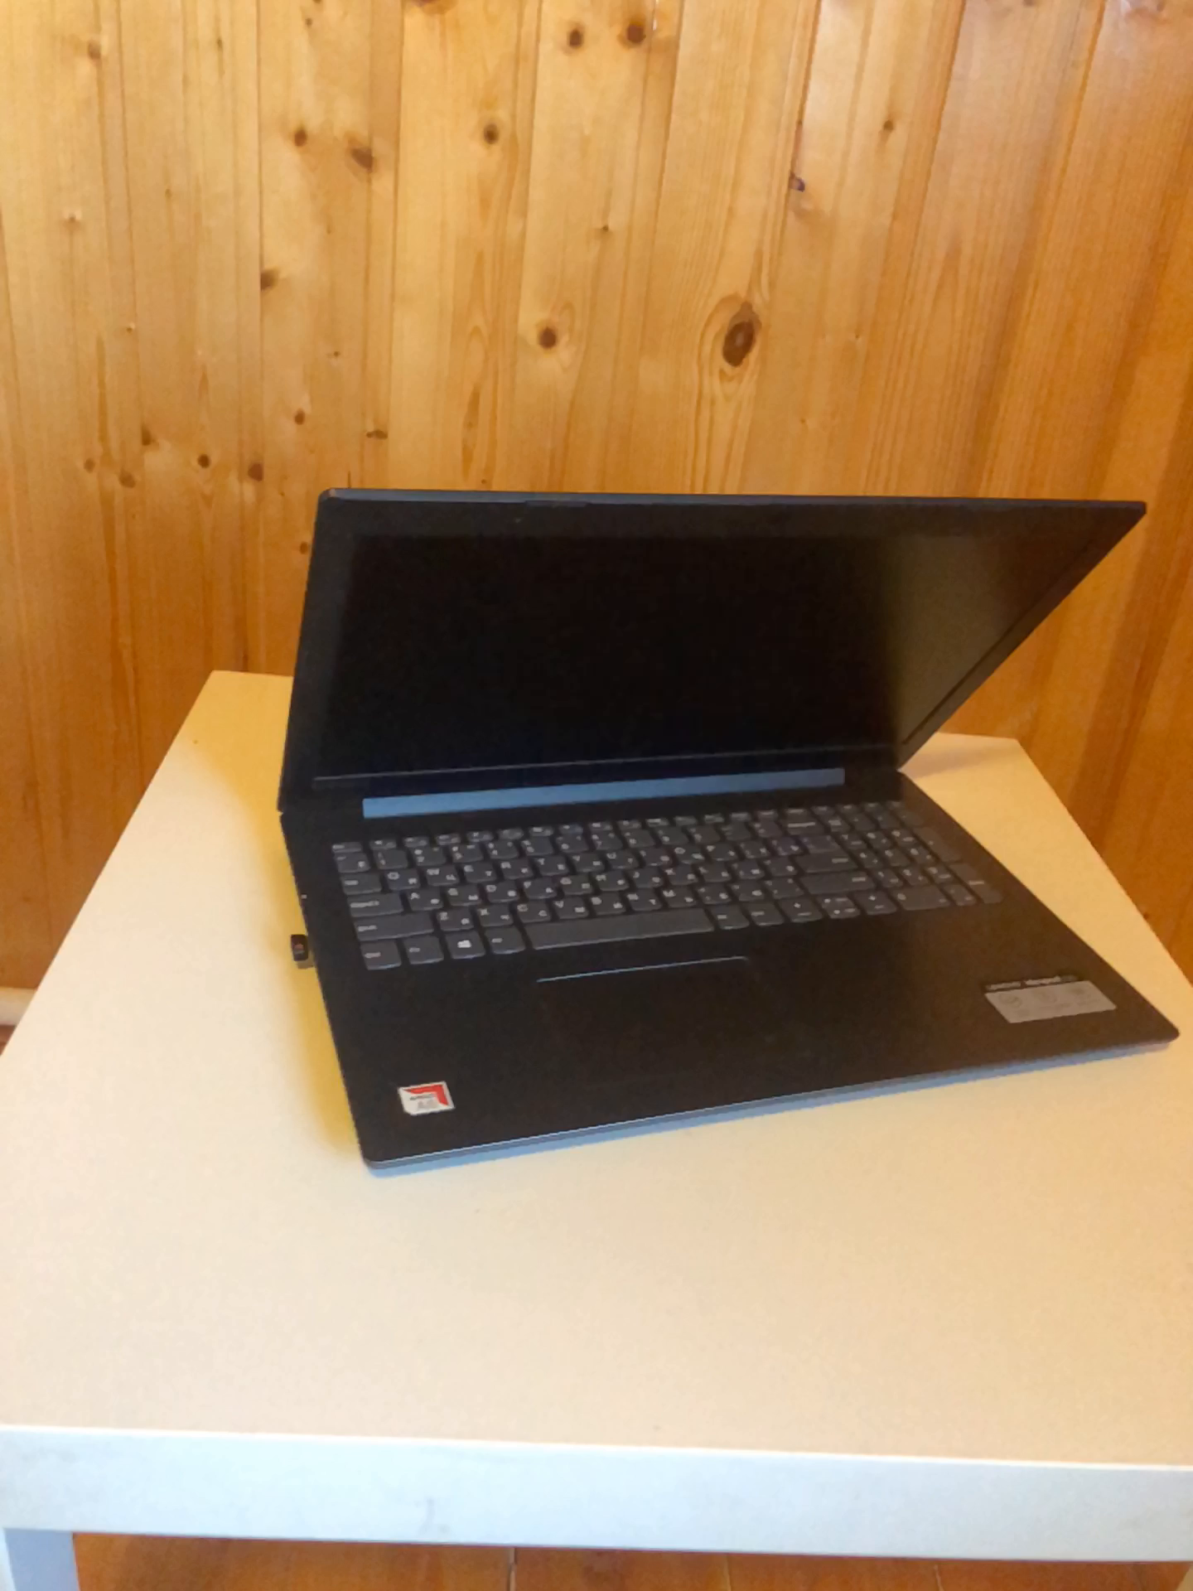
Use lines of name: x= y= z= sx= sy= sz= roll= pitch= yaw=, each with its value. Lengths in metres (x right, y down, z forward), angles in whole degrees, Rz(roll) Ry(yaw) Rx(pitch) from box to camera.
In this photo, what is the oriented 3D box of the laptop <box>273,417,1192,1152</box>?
laptop: x=0.061 y=-0.033 z=0.592 sx=0.373 sy=0.206 sz=0.251 roll=-4 pitch=29 yaw=-19
